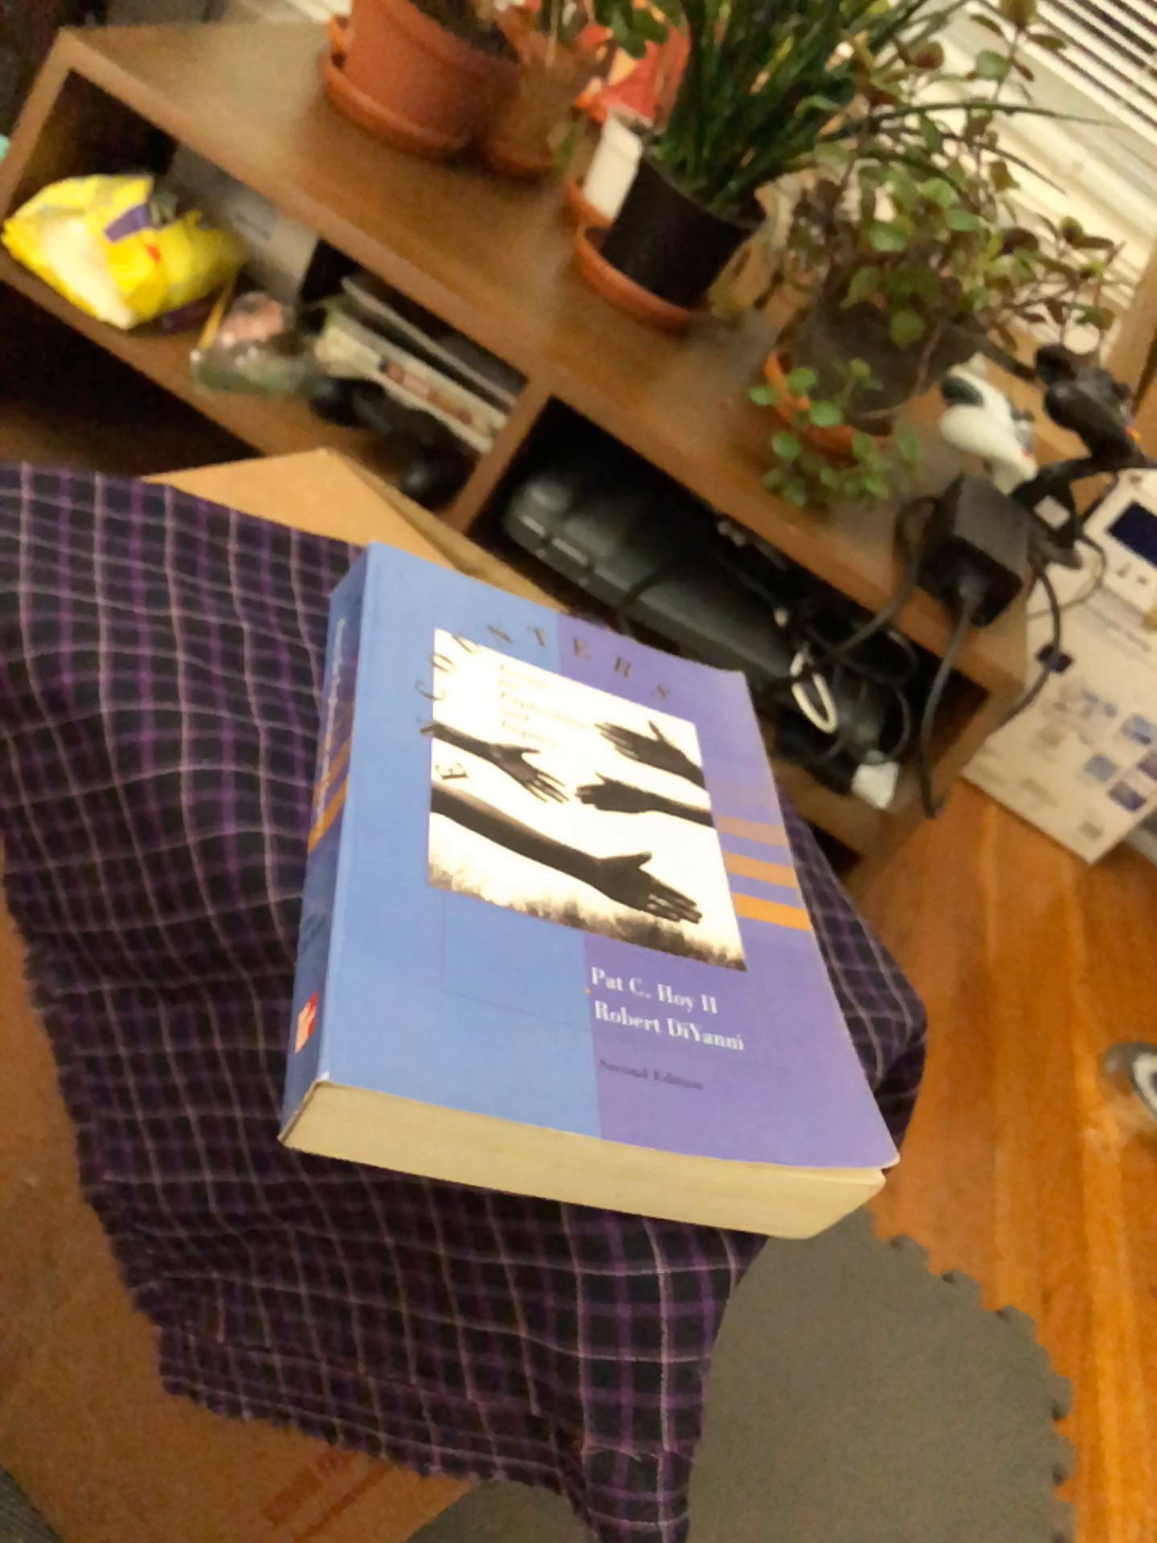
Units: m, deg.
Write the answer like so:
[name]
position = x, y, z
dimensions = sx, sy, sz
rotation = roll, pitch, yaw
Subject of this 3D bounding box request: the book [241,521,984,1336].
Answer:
[book]
position = 0.005, 0.037, 0.431
dimensions = 0.200, 0.040, 0.261
rotation = 19, 37, -22
